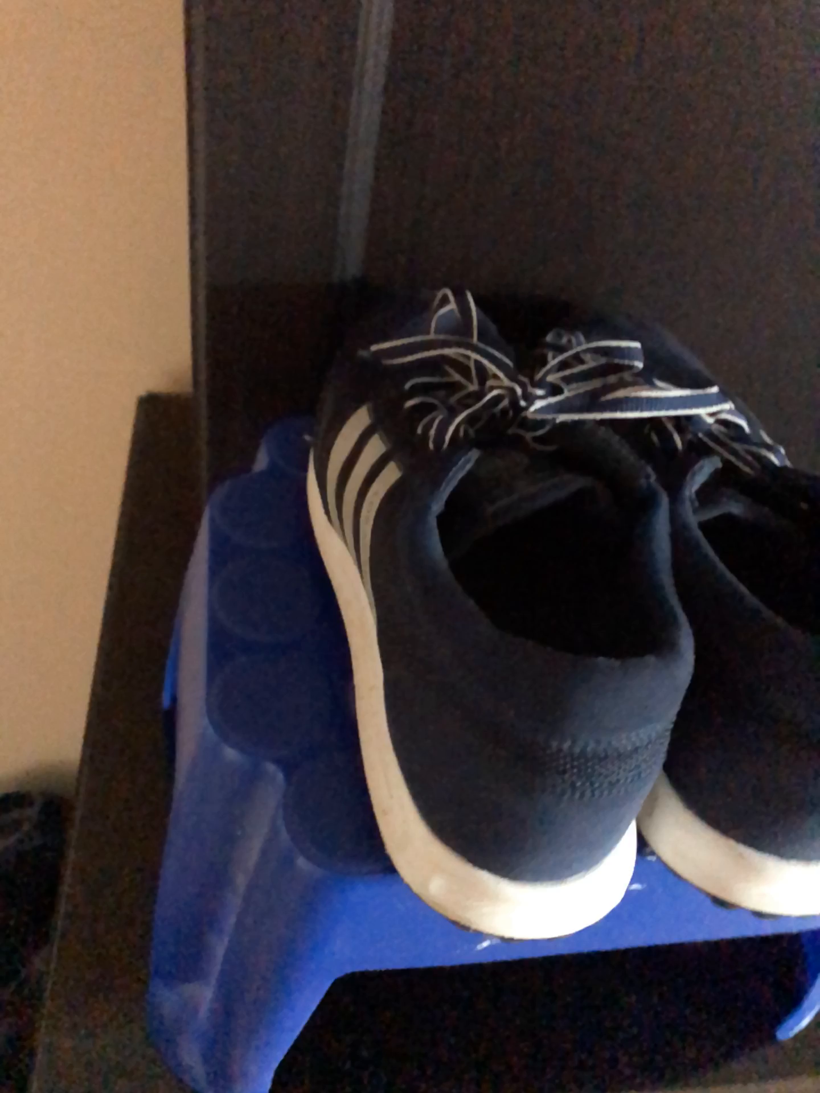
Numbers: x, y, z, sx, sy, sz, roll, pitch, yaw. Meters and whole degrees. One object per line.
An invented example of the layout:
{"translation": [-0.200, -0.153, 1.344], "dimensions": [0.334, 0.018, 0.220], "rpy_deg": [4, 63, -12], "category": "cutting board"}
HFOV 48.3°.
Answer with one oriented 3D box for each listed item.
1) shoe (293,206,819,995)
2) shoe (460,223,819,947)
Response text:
{"translation": [0.028, -0.005, 0.324], "dimensions": [0.110, 0.109, 0.262], "rpy_deg": [-1, 46, -13], "category": "shoe"}
{"translation": [0.104, -0.006, 0.348], "dimensions": [0.110, 0.109, 0.262], "rpy_deg": [1, 45, -11], "category": "shoe"}
